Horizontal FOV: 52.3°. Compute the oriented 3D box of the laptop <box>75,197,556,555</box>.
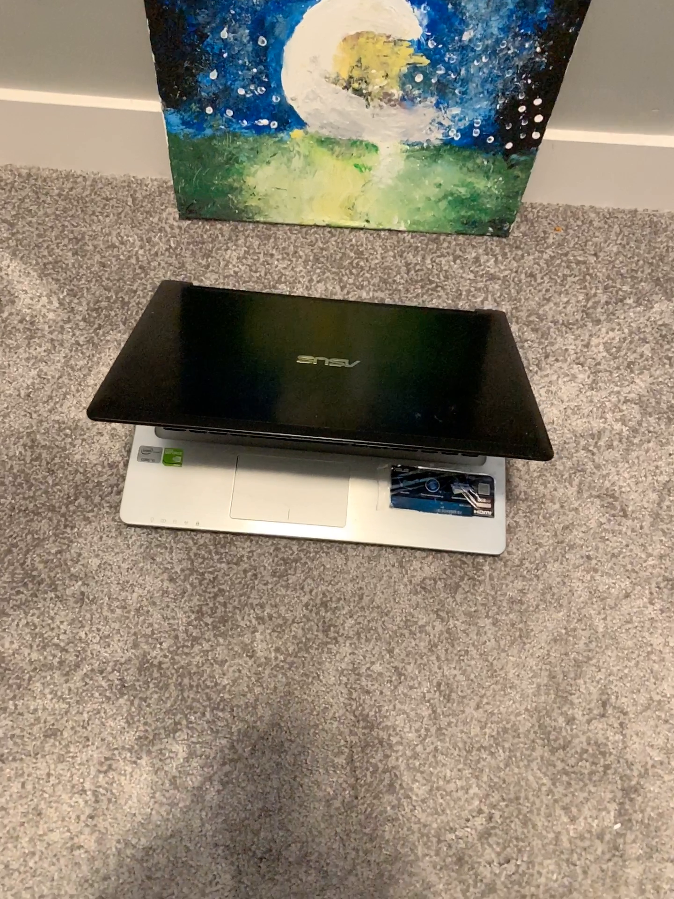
[{"bbox_3d":[-0.010,-0.059,0.610,0.354,0.134,0.253,5,70,-1],"label":"laptop"}]
